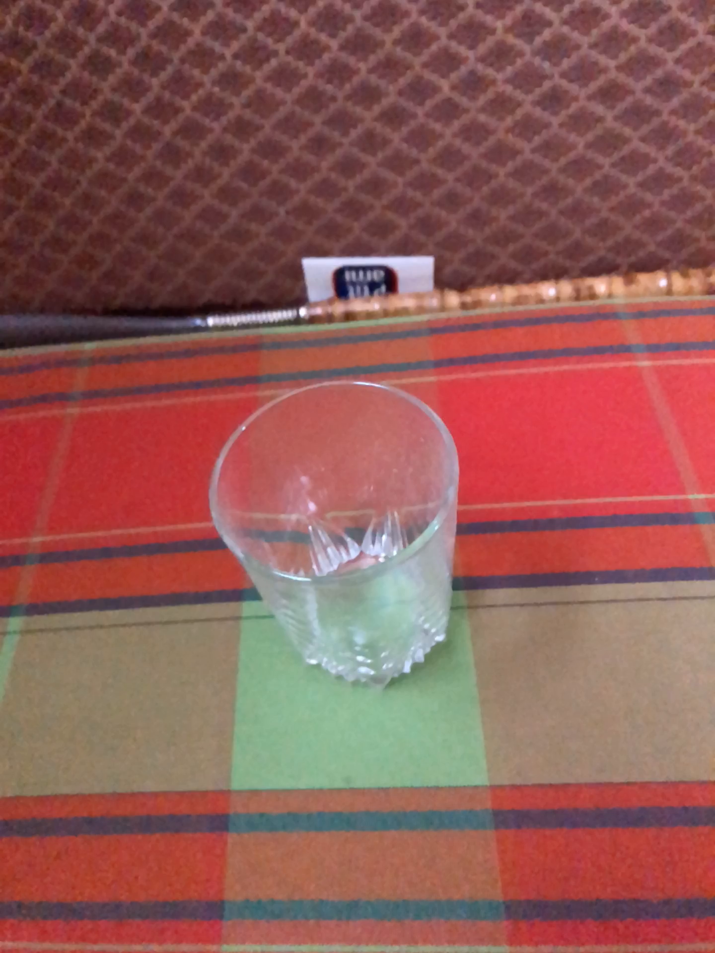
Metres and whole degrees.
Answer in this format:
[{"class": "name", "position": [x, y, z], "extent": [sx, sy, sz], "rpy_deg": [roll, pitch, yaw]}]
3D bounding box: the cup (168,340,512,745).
[{"class": "cup", "position": [-0.002, 0.022, 0.240], "extent": [0.070, 0.080, 0.070], "rpy_deg": [-5, 55, 7]}]
